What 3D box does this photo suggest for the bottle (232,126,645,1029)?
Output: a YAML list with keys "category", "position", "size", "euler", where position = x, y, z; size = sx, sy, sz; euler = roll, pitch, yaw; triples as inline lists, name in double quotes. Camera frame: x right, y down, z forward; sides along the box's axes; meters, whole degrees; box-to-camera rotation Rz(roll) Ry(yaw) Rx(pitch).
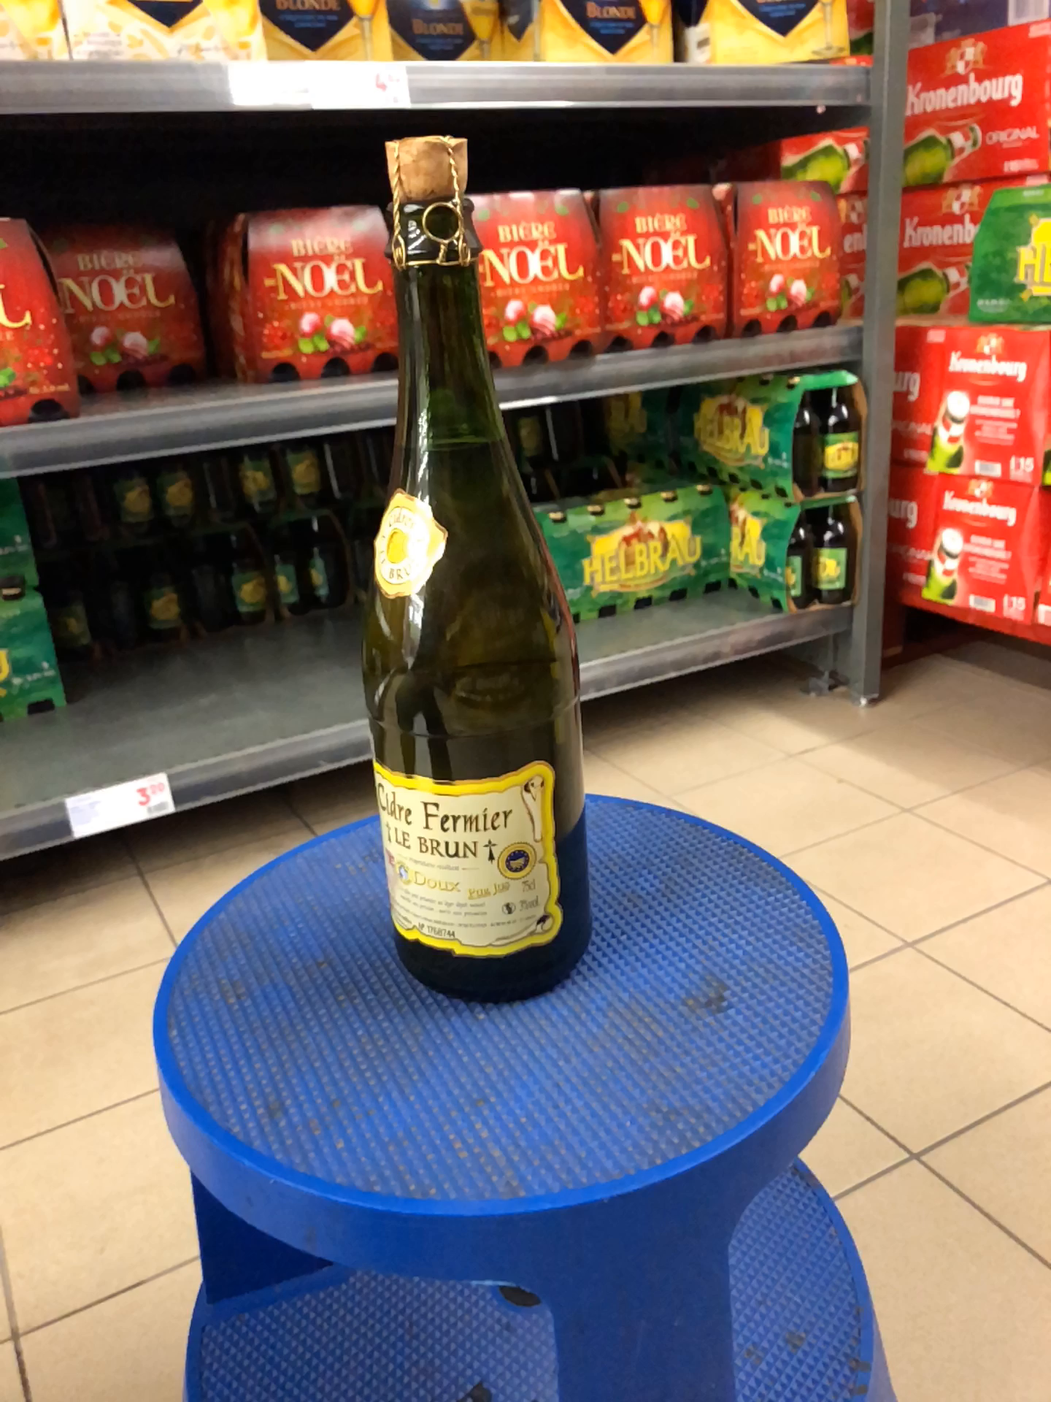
- category: "bottle"
  position: [-0.020, -0.040, 0.430]
  size: [0.090, 0.299, 0.091]
  euler: [-4, 20, 1]
